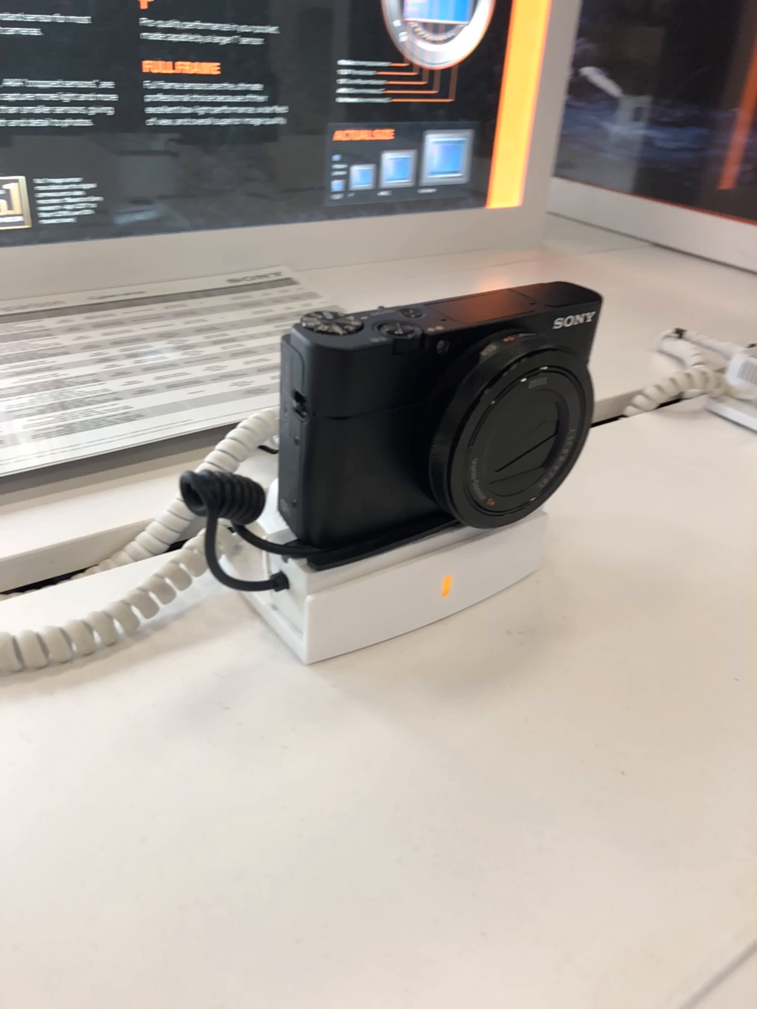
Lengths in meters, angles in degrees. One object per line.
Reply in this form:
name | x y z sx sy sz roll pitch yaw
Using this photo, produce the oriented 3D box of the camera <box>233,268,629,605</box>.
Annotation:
camera | 0.016 -0.024 0.243 0.110 0.070 0.030 -17 41 -33
